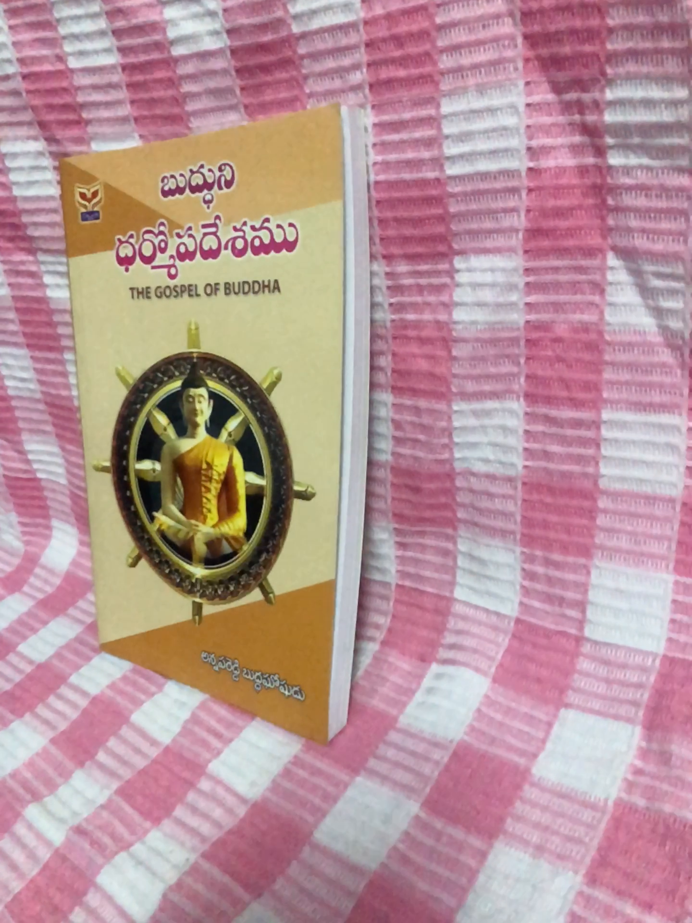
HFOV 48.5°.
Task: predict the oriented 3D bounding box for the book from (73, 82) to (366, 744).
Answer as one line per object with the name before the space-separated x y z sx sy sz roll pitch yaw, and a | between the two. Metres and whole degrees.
book | -0.055 -0.018 0.295 0.140 0.210 0.020 7 9 40
